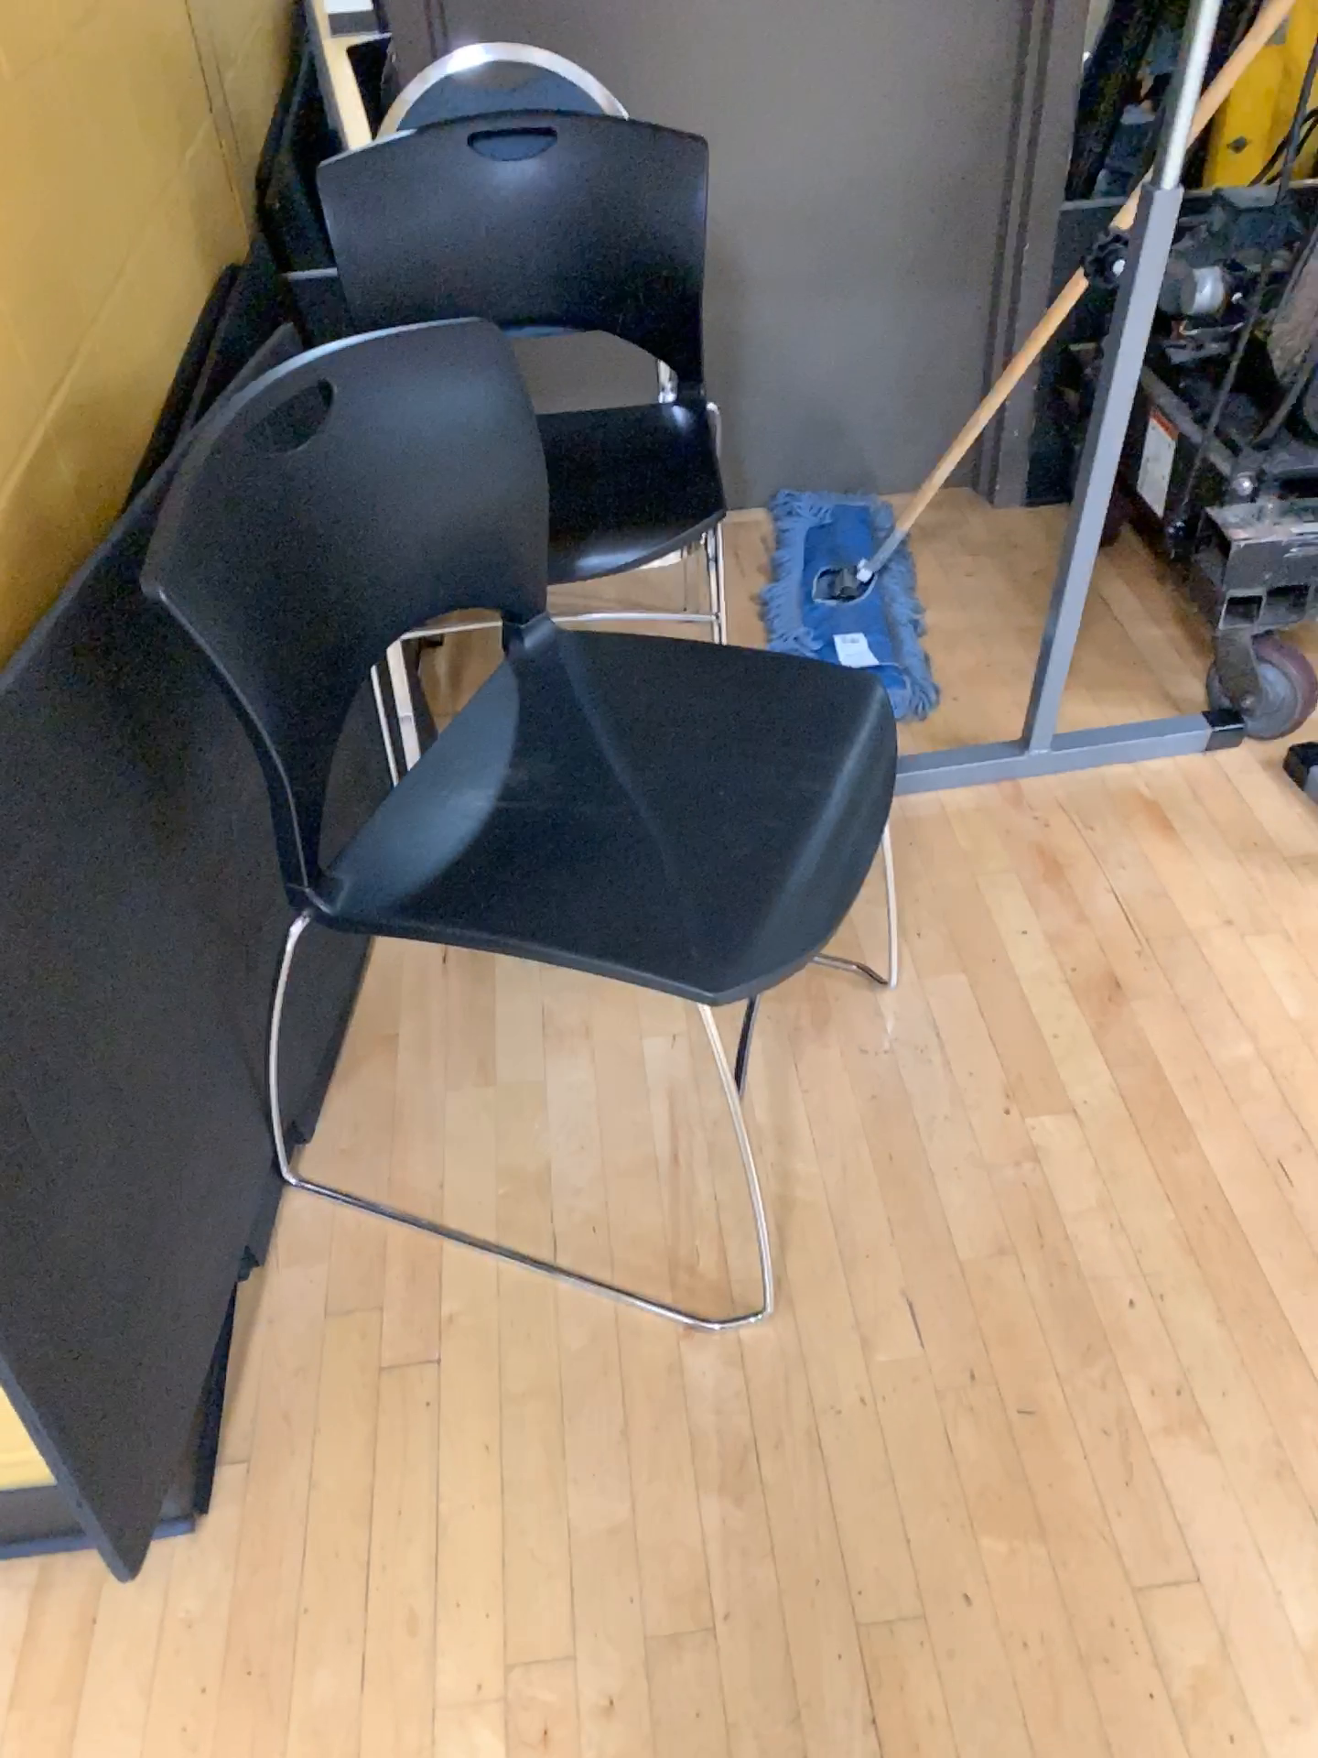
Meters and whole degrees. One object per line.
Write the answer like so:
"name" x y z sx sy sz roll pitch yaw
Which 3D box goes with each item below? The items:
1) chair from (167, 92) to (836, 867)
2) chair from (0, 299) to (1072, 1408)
"chair" -0.152 -0.576 1.886 0.676 0.761 0.780 -3 41 1
"chair" -0.070 -0.063 1.317 0.726 0.722 0.639 13 44 18
